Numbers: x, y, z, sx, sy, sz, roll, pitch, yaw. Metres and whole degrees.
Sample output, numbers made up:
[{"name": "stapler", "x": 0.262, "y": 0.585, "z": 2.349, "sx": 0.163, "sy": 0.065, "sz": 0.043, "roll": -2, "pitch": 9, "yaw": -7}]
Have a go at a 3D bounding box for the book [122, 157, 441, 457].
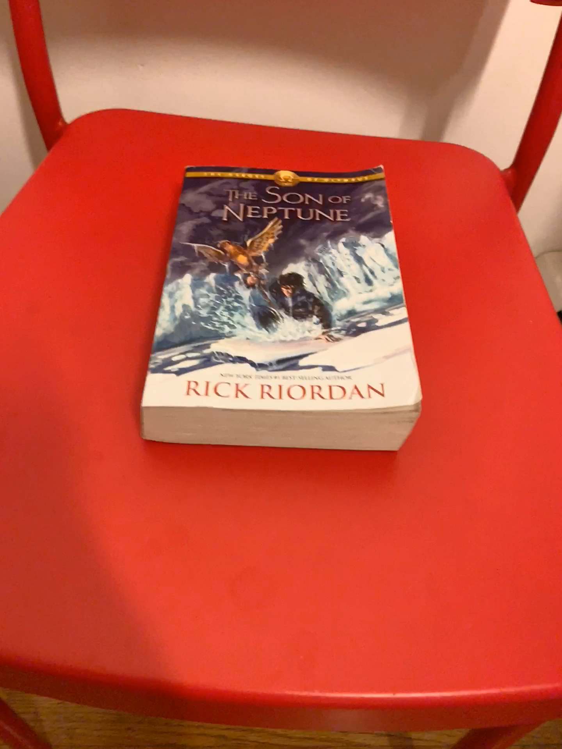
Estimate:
[{"name": "book", "x": 0.001, "y": -0.049, "z": 0.332, "sx": 0.142, "sy": 0.040, "sz": 0.189, "roll": 3, "pitch": 51, "yaw": -3}]
